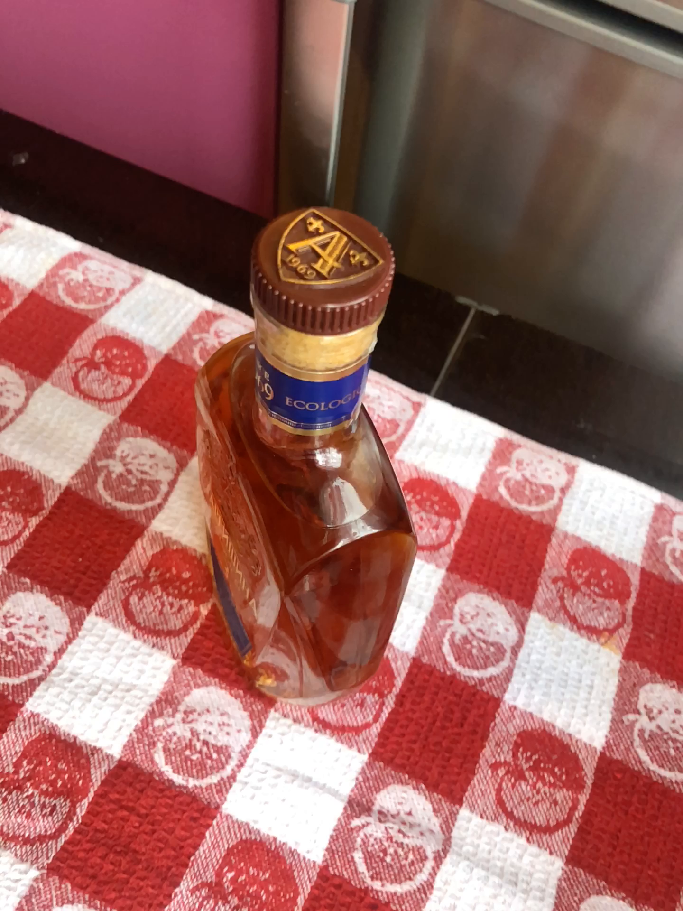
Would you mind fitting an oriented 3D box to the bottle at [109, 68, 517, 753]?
[{"bbox_3d":[-0.022,0.013,0.247,0.050,0.219,0.110,-14,62,-15],"label":"bottle"}]
